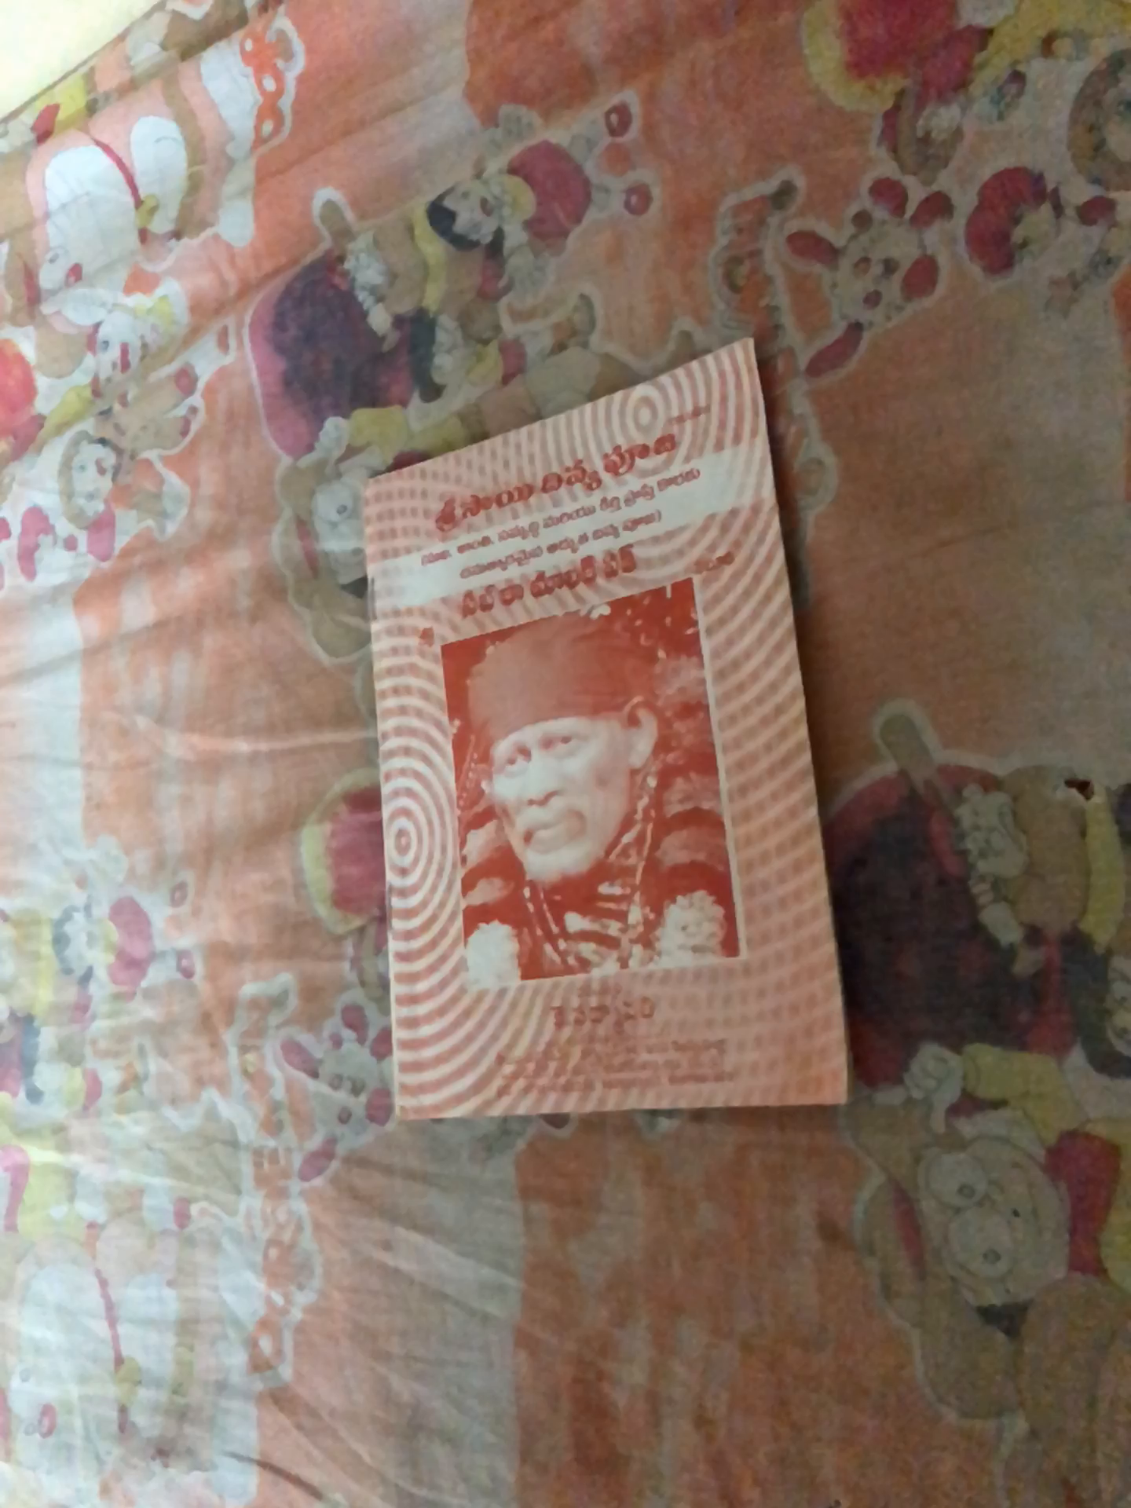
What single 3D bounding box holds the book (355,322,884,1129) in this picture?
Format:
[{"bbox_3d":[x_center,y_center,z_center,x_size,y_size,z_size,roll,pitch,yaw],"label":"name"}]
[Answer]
[{"bbox_3d":[0.004,-0.002,0.300,0.120,0.010,0.173,-11,77,29],"label":"book"}]
